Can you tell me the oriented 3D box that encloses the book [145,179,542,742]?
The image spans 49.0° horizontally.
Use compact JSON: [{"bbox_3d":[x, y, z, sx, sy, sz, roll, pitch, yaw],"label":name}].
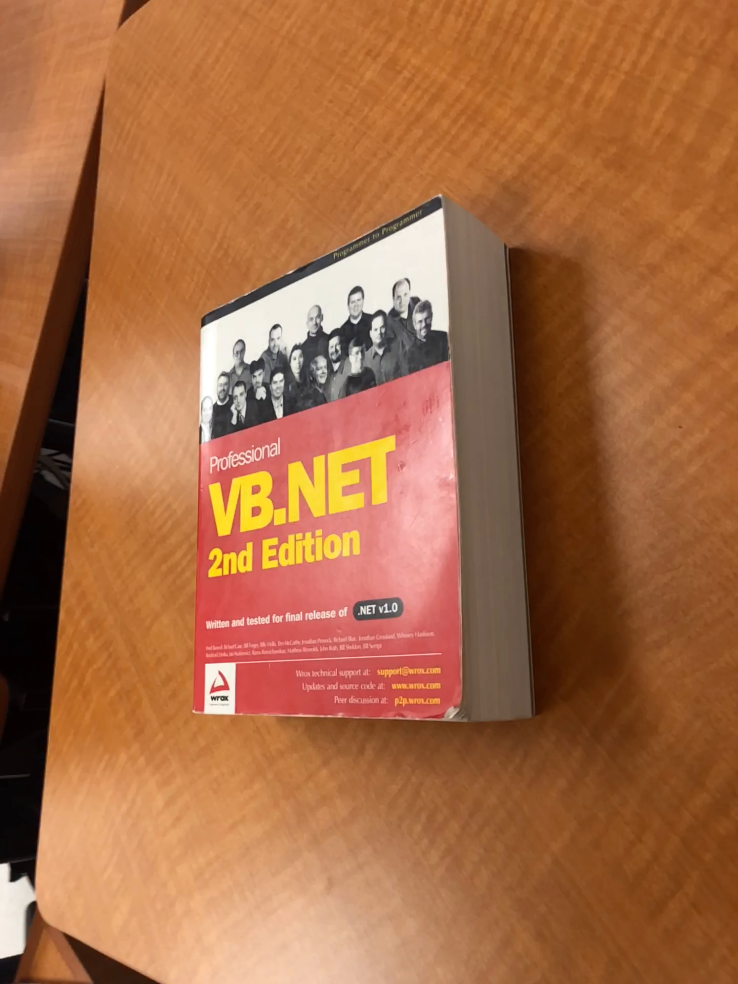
[{"bbox_3d":[-0.023,-0.001,0.406,0.201,0.060,0.230,-12,72,41],"label":"book"}]
